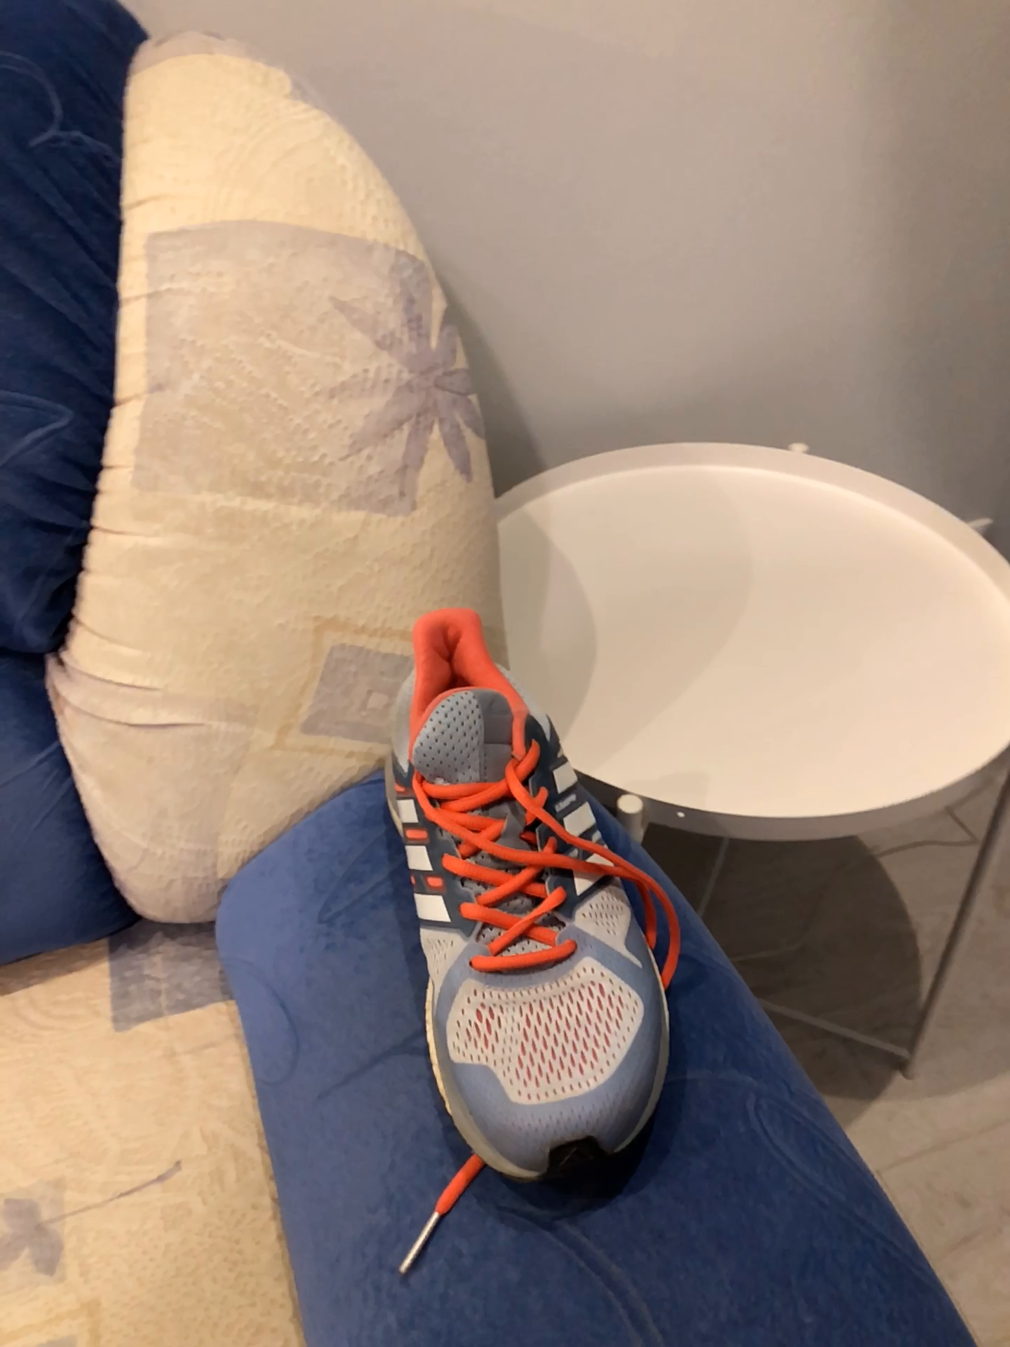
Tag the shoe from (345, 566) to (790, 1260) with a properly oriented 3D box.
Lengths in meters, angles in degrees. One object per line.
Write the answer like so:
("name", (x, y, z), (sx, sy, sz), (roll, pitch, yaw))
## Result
("shoe", (0.008, 0.081, 0.486), (0.107, 0.109, 0.272), (-10, 41, -10))
